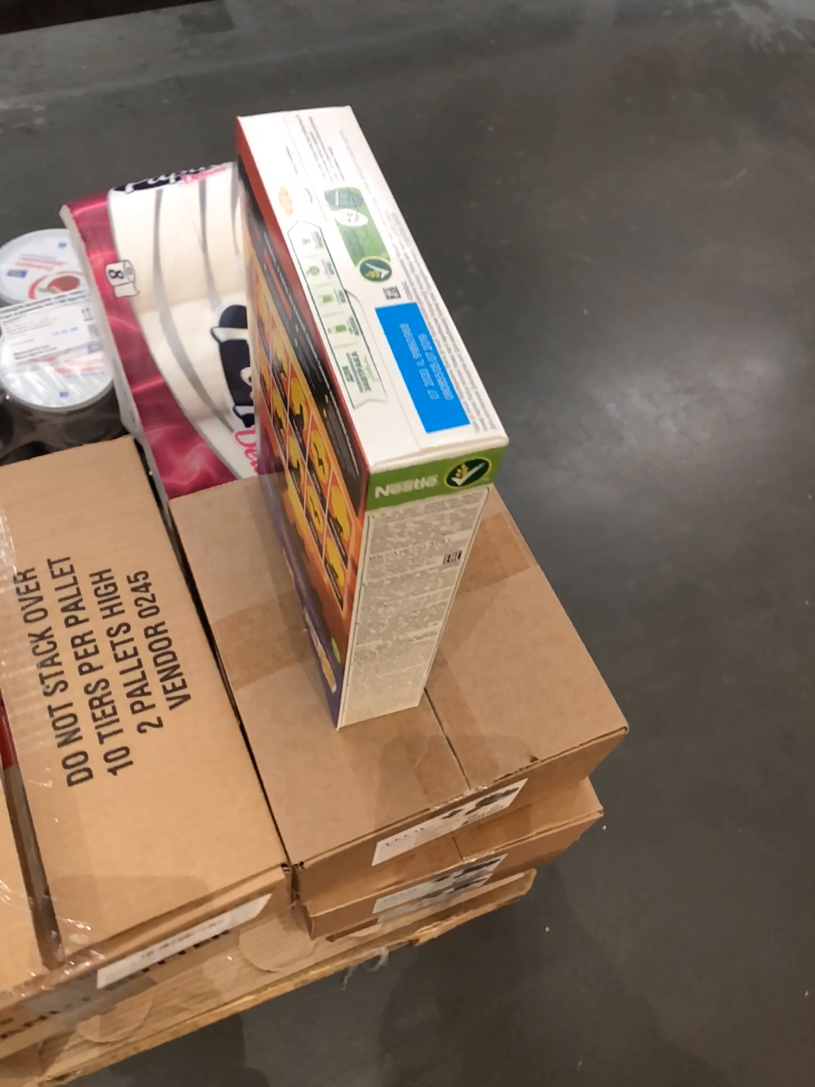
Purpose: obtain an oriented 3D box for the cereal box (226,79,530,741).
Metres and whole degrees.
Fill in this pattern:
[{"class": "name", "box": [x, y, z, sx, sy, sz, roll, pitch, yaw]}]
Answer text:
[{"class": "cereal box", "box": [-0.033, -0.042, 0.459, 0.060, 0.279, 0.201, -13, 63, -14]}]
